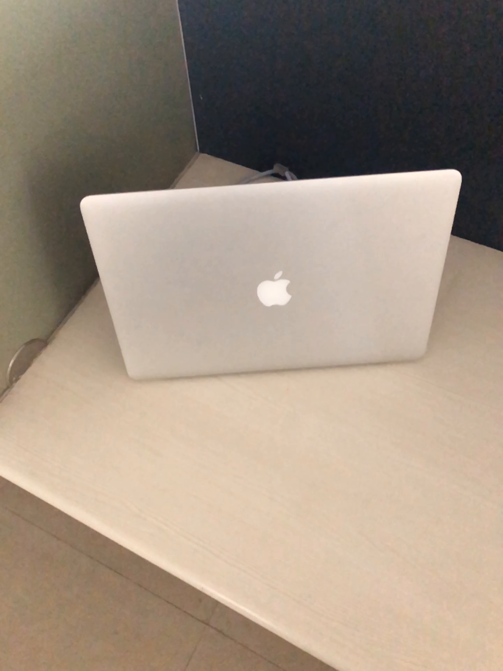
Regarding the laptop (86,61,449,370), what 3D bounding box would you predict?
[{"bbox_3d":[0.012,-0.133,0.656,0.321,0.233,0.244,-4,57,0],"label":"laptop"}]
